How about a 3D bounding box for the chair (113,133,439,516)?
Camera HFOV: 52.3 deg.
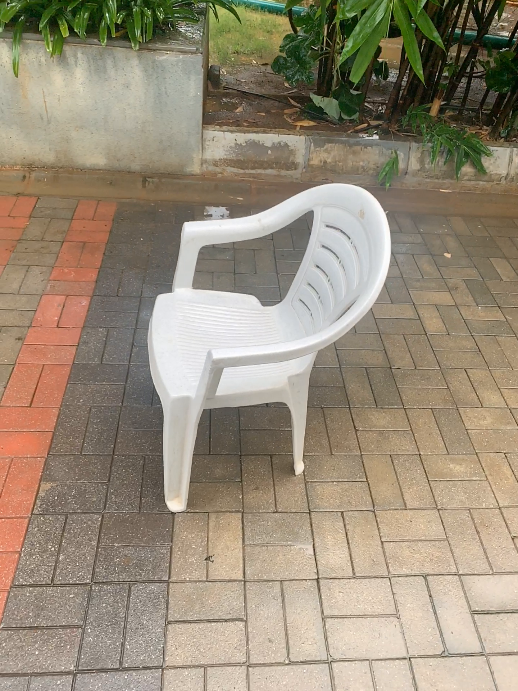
[{"bbox_3d":[-0.039,-0.050,1.380,0.570,0.777,0.562,-6,45,-13],"label":"chair"}]
